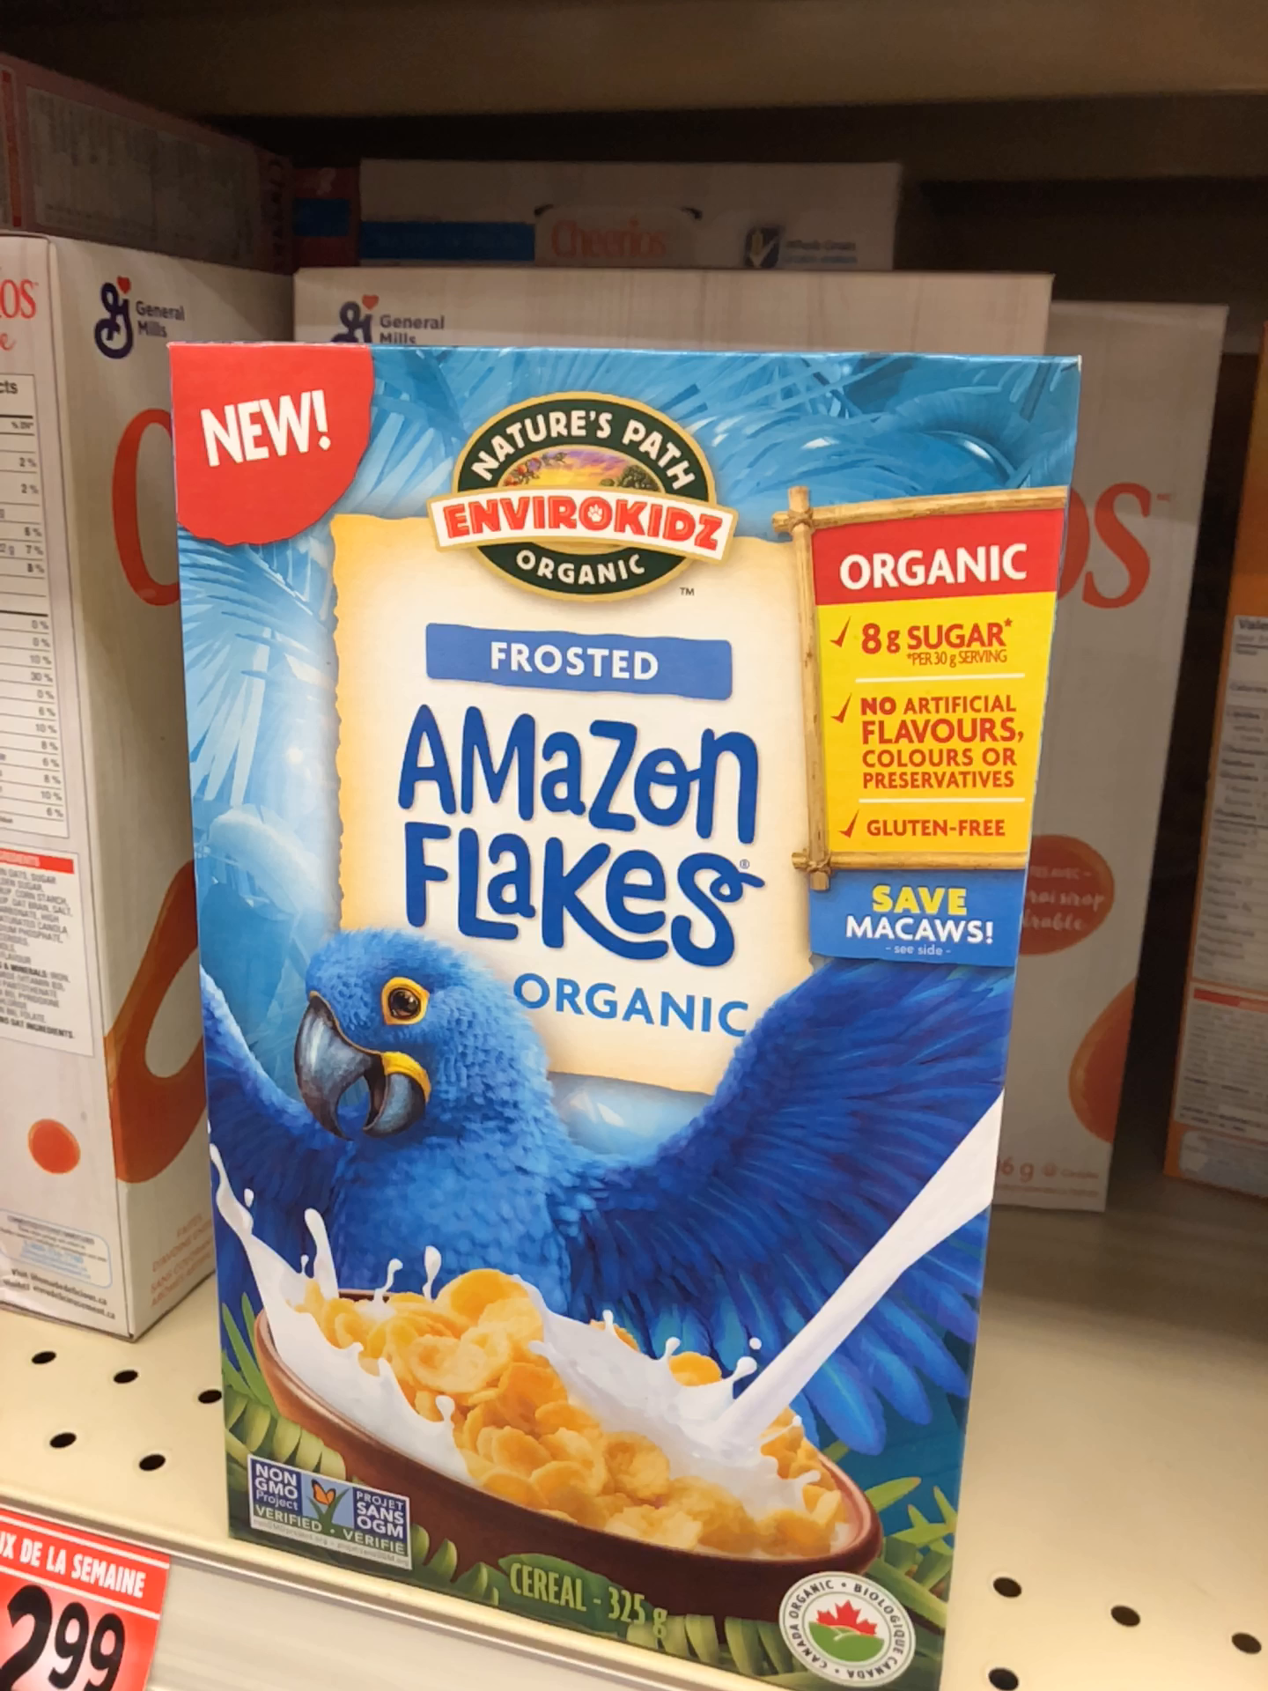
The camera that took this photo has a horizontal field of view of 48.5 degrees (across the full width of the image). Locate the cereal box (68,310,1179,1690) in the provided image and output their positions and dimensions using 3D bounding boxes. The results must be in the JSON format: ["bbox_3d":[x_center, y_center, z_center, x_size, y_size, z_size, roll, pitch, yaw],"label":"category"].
[{"bbox_3d":[-0.006,0.034,0.265,0.170,0.249,0.050,6,17,16],"label":"cereal box"}]
